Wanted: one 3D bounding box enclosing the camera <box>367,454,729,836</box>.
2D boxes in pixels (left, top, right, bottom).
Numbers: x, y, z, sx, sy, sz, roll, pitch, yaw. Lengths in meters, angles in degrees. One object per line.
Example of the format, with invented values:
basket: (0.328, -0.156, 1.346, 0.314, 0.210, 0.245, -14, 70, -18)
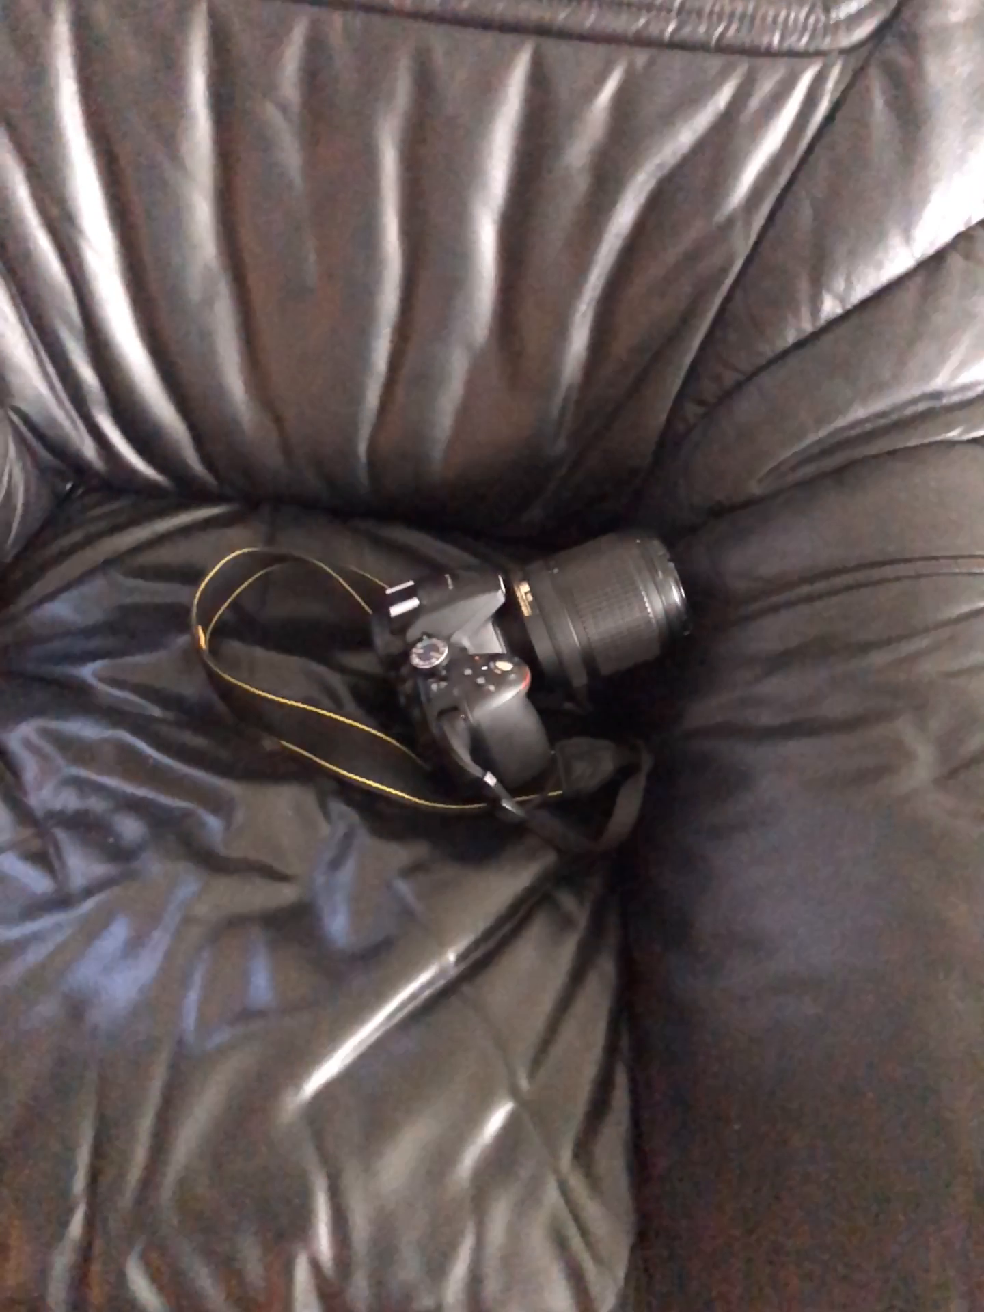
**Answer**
camera: (0.035, -0.007, 0.678, 0.170, 0.130, 0.140, -21, 47, 0)
